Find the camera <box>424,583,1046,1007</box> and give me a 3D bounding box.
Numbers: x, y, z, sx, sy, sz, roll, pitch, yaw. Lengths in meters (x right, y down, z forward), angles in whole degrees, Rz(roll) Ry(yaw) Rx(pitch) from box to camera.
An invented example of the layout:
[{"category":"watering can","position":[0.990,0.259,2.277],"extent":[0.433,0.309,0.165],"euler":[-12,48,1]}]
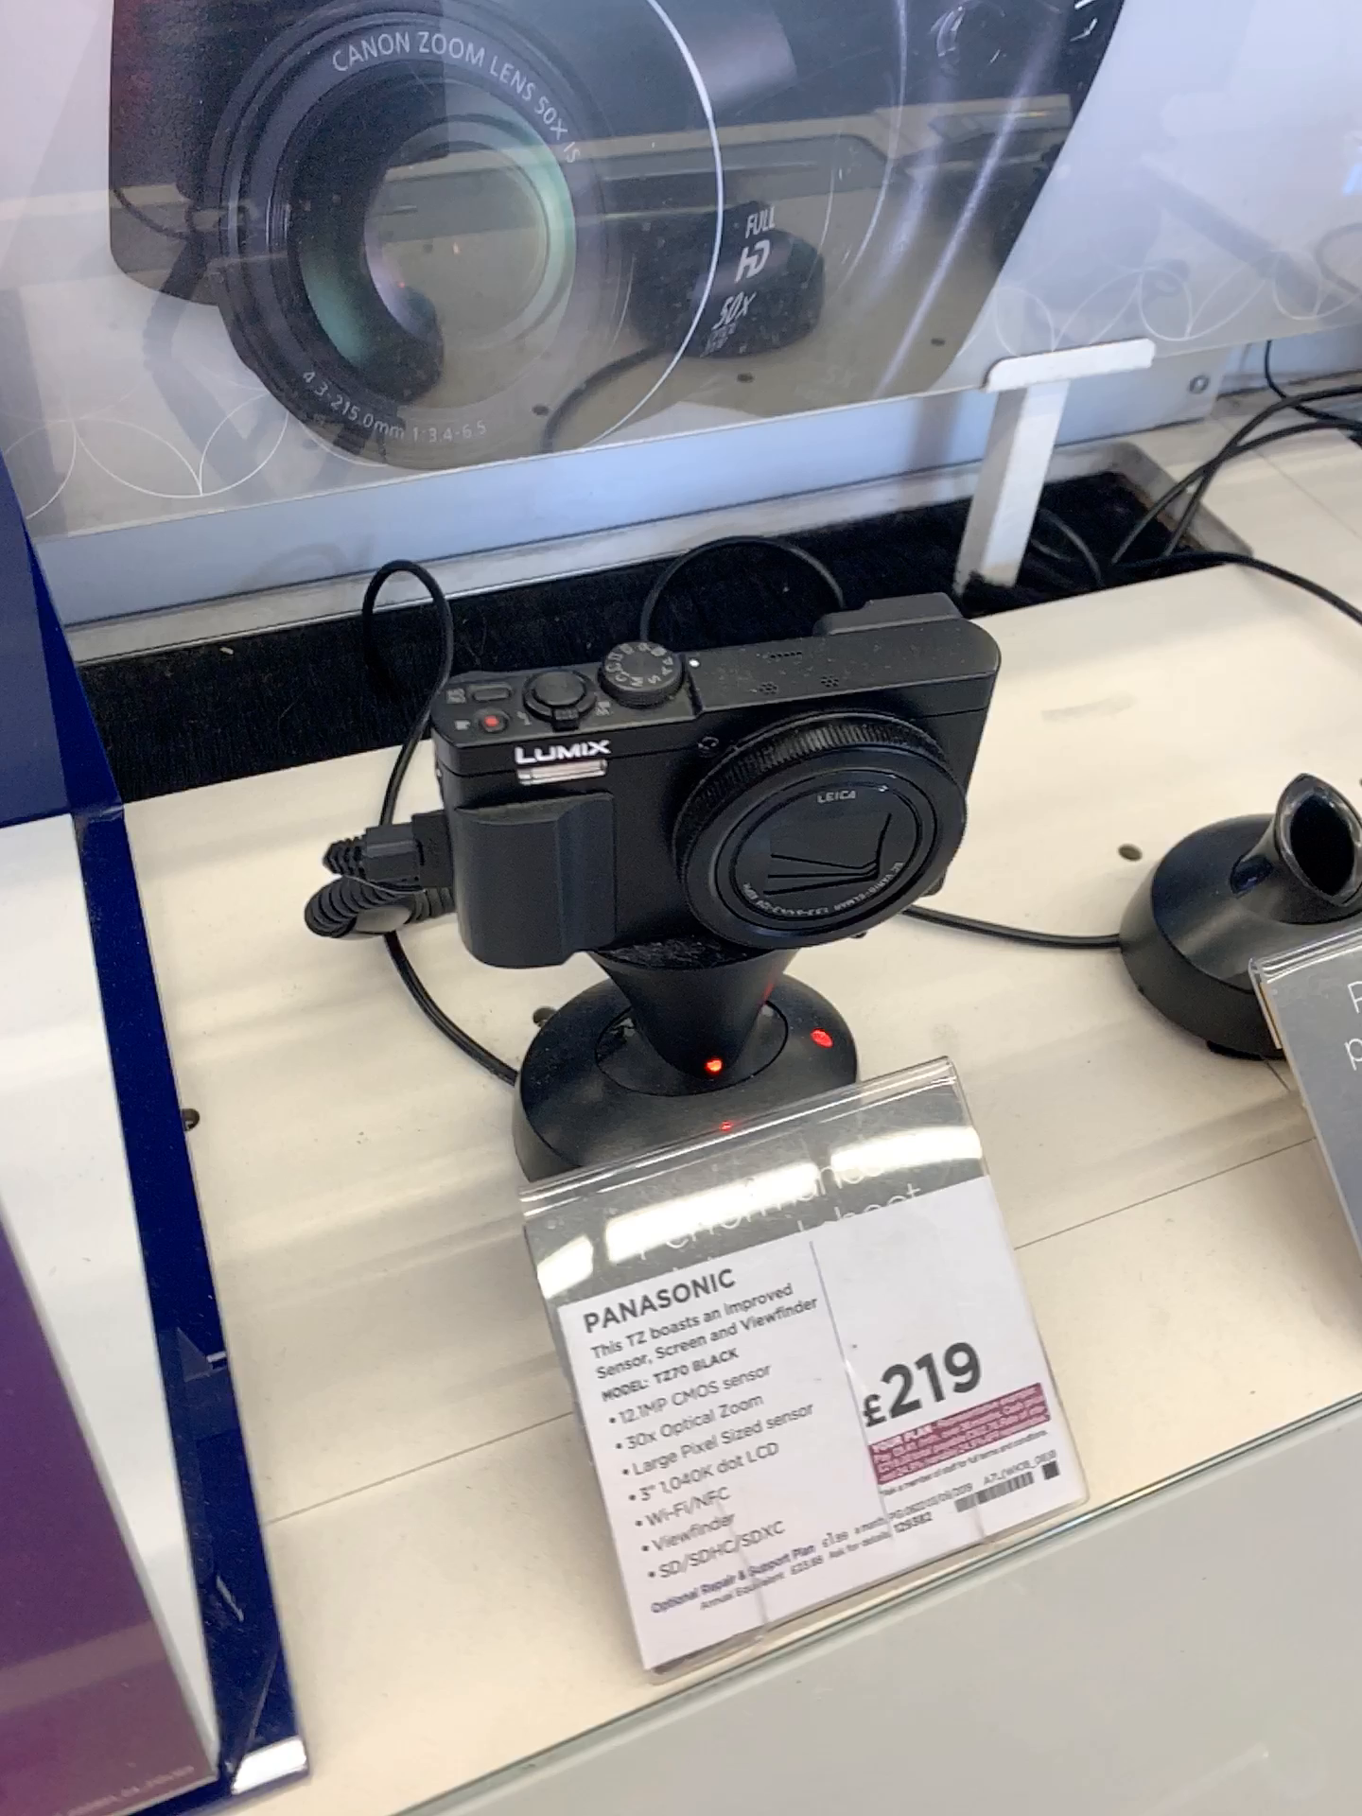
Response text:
[{"category":"camera","position":[0.008,-0.022,0.283],"extent":[0.110,0.069,0.030],"euler":[-9,49,-11]}]
